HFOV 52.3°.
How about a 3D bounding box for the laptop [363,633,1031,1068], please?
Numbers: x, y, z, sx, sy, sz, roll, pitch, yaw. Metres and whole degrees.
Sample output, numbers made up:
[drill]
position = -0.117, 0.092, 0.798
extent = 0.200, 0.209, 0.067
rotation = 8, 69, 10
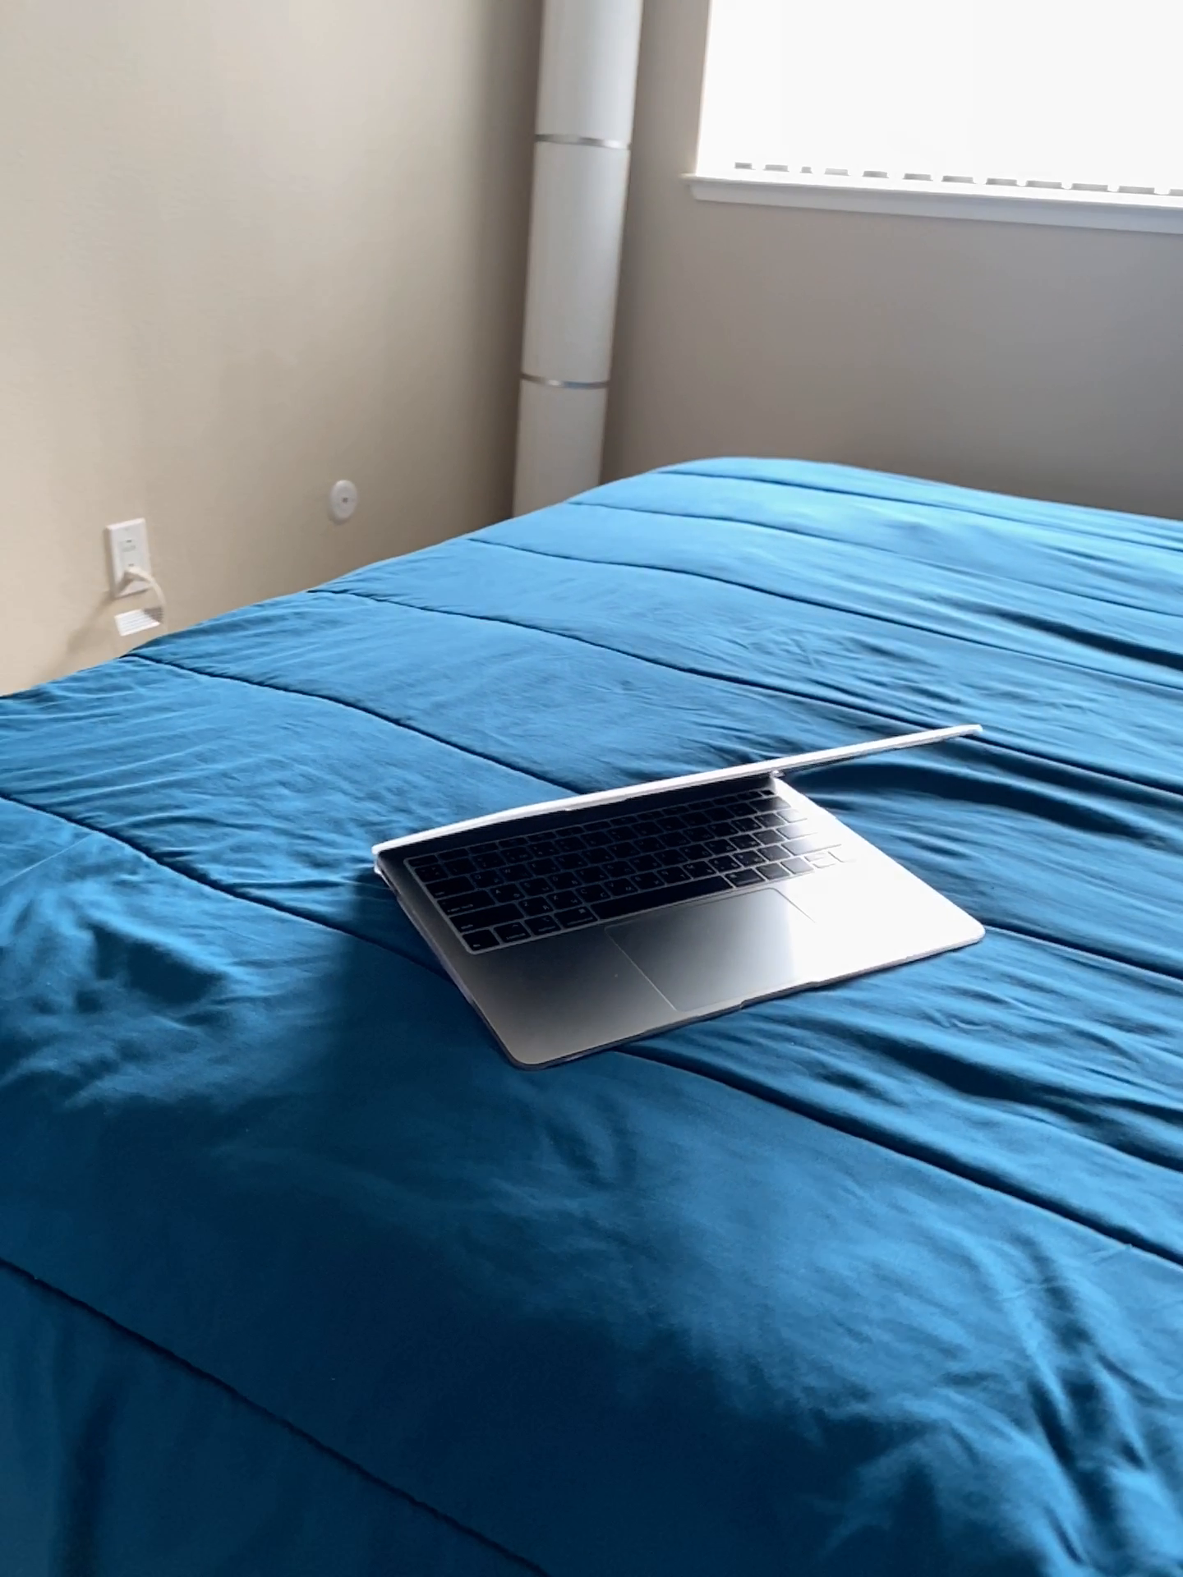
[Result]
[laptop]
position = 0.054, 0.014, 0.717
extent = 0.311, 0.106, 0.219
rotation = -11, 32, -26
